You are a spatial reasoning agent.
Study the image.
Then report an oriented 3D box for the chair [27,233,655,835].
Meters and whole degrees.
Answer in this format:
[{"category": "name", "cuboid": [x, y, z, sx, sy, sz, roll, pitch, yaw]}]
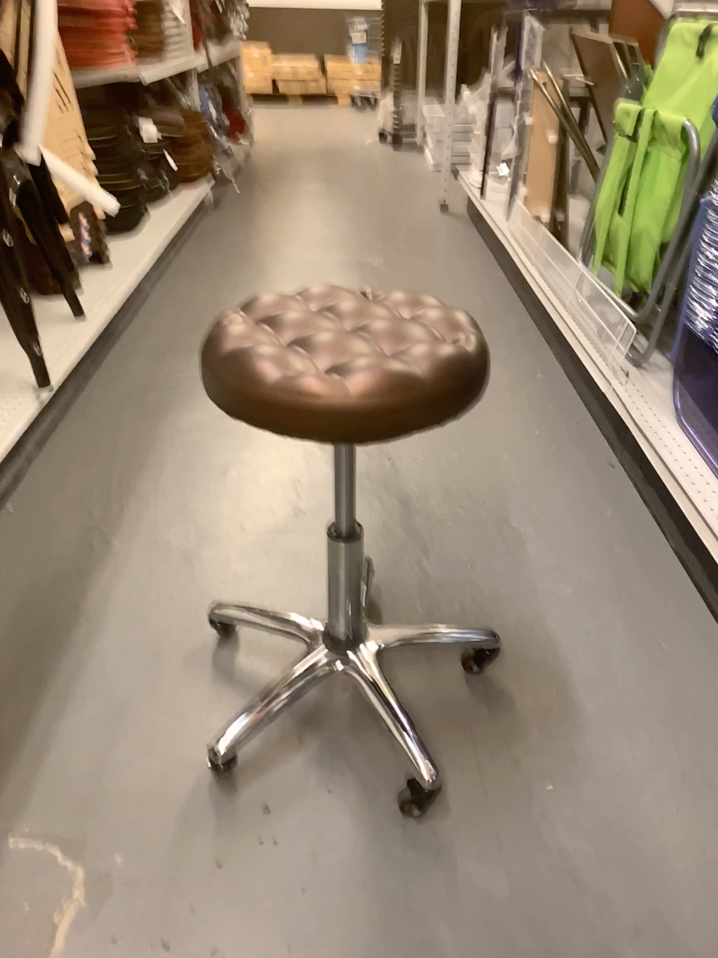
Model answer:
[{"category": "chair", "cuboid": [-0.014, 0.043, 0.949, 0.501, 0.574, 0.514, 2, 32, 1]}]
